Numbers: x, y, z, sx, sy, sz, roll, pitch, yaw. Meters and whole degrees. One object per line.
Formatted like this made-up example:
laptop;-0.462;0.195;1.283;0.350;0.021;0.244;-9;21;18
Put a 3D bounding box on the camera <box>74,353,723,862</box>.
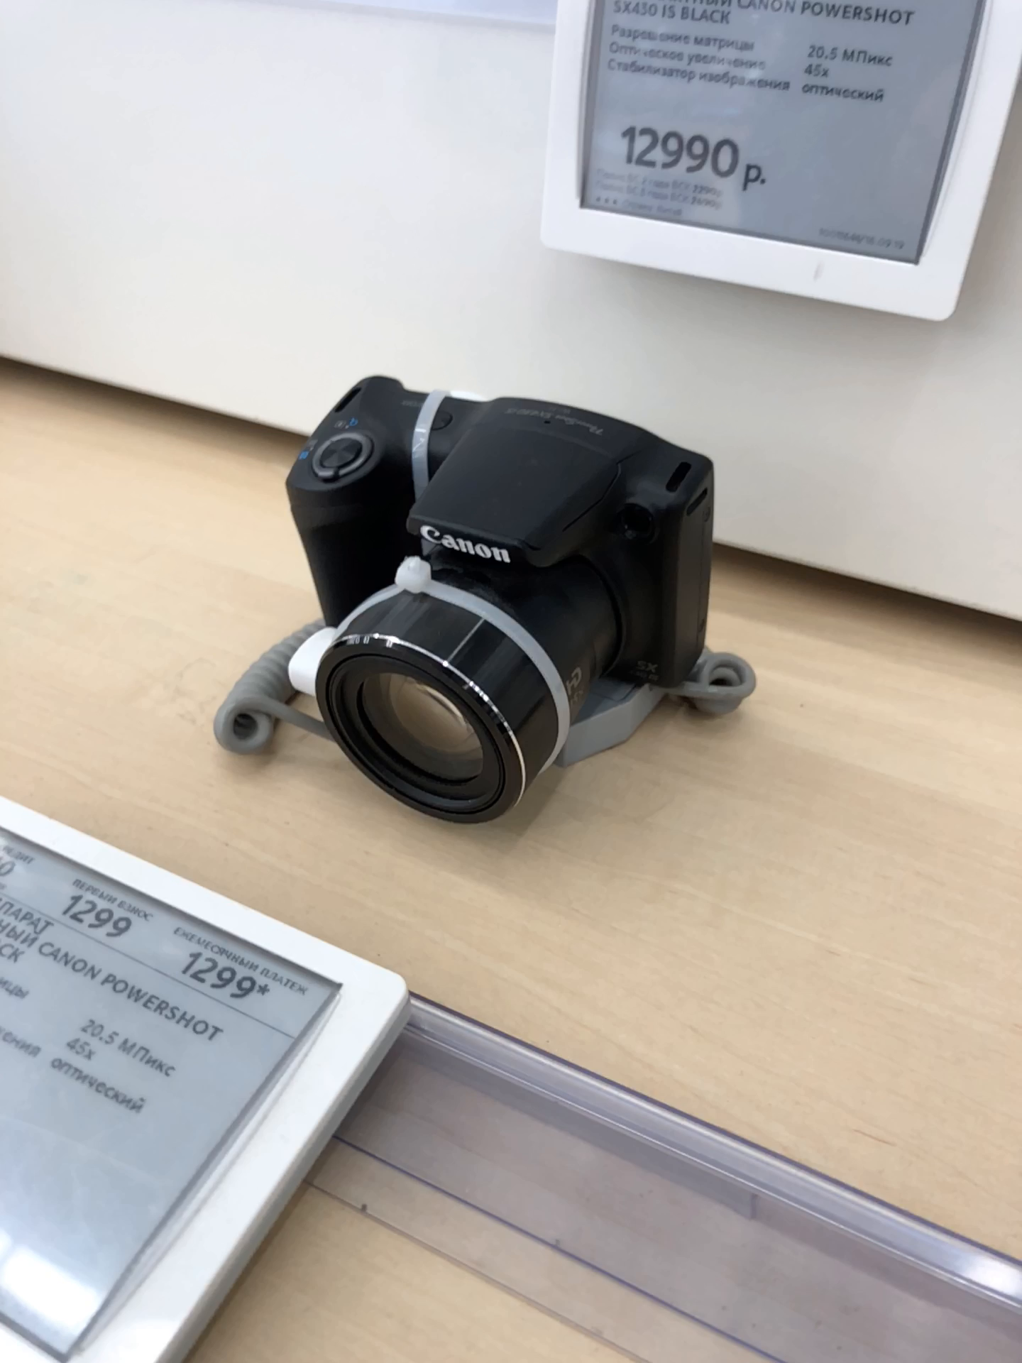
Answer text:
camera;-0.022;-0.026;0.275;0.117;0.062;0.093;16;35;18
